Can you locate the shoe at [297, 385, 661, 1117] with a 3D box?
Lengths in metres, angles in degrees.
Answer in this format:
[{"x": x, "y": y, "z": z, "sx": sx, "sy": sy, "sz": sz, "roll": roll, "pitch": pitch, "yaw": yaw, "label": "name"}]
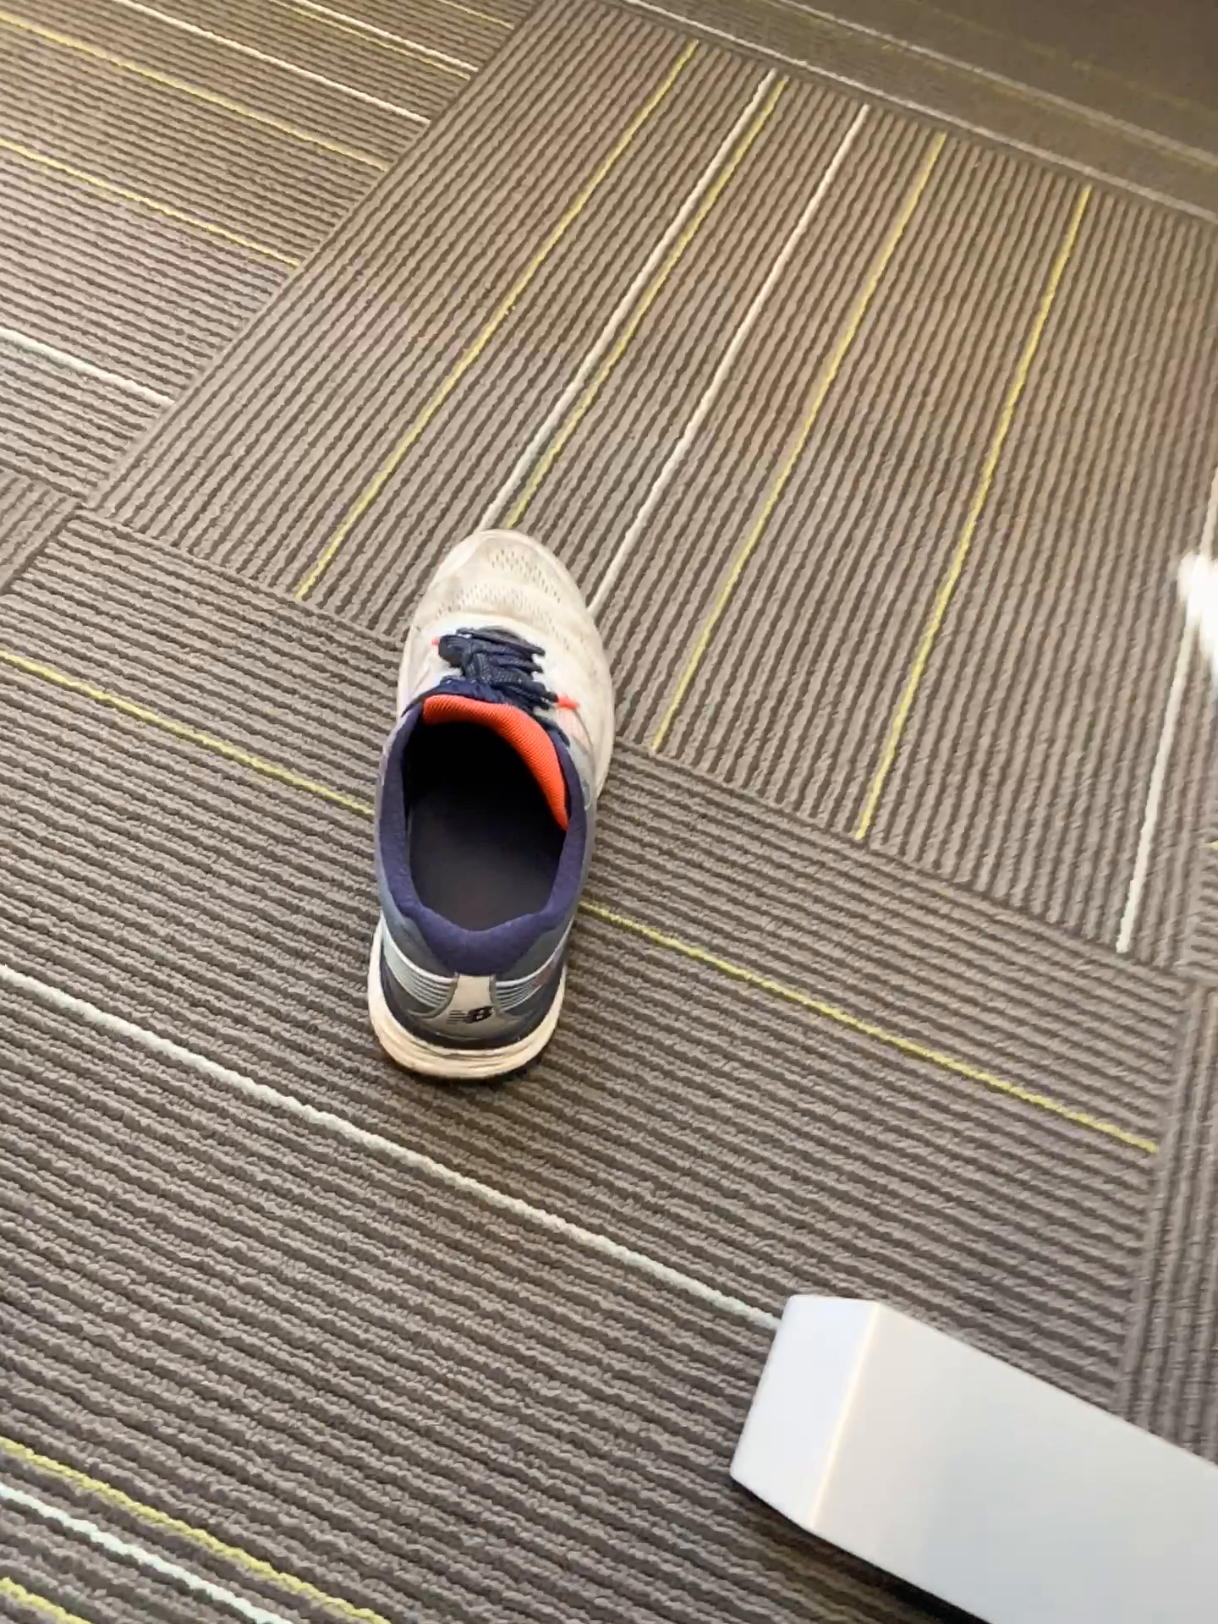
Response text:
[{"x": -0.049, "y": -0.034, "z": 0.557, "sx": 0.110, "sy": 0.110, "sz": 0.301, "roll": 8, "pitch": 60, "yaw": -5, "label": "shoe"}]
